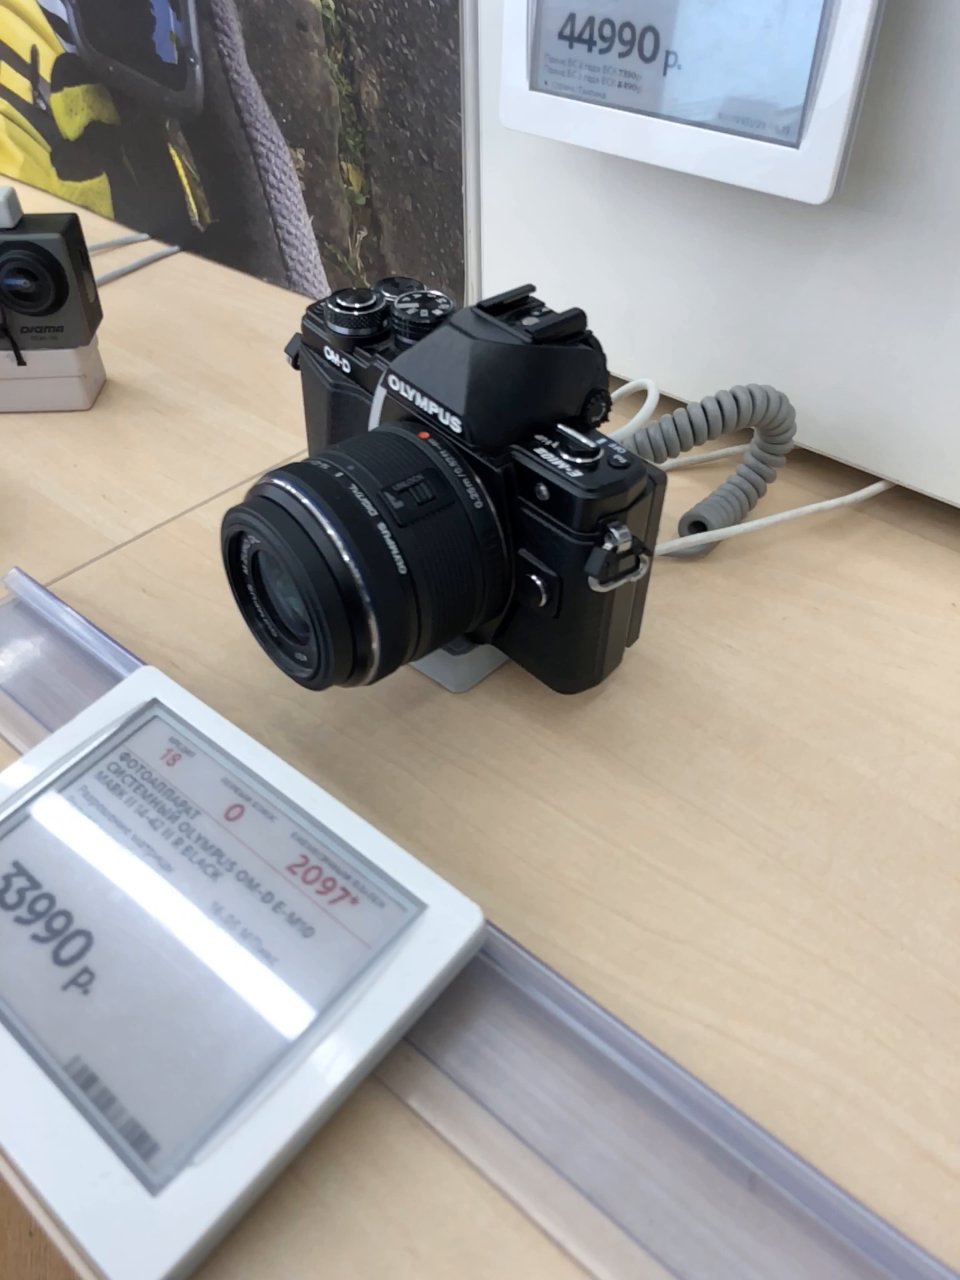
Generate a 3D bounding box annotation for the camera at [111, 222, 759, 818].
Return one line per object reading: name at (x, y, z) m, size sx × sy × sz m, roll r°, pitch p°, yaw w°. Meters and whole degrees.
camera at (-0.012, -0.039, 0.268) m, size 0.100 × 0.079 × 0.112 m, roll -30°, pitch 49°, yaw -30°
